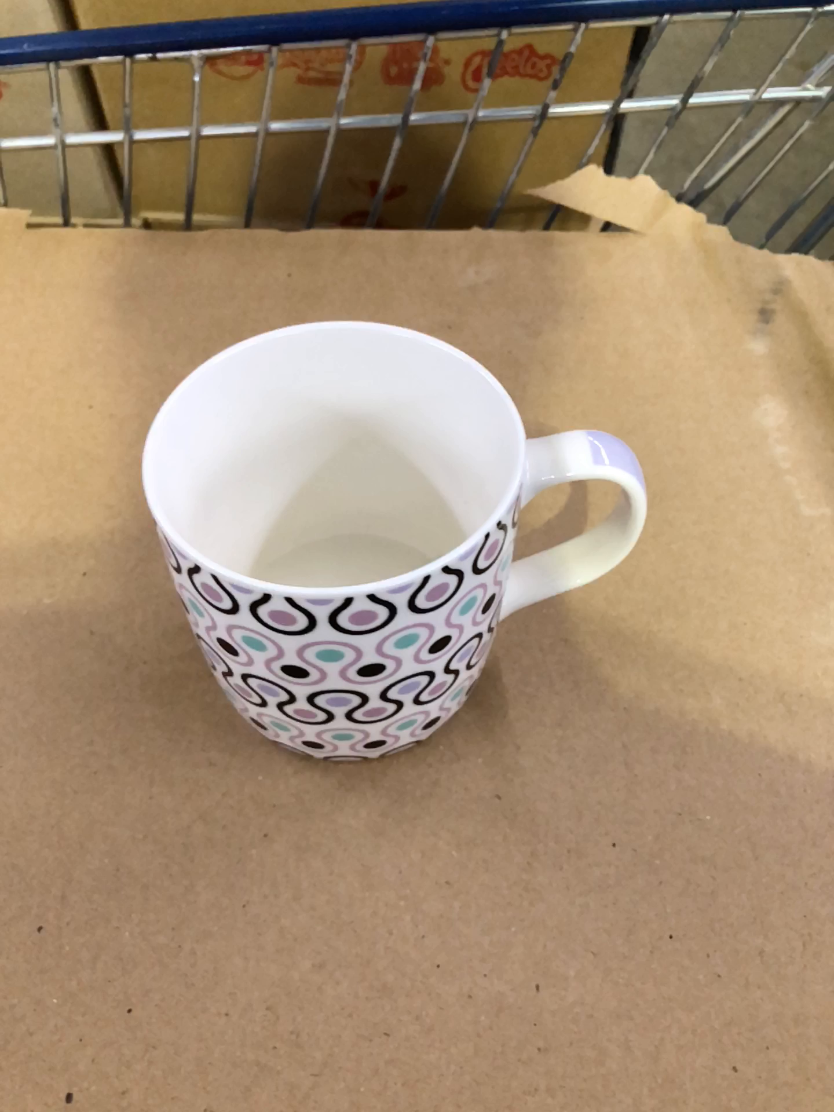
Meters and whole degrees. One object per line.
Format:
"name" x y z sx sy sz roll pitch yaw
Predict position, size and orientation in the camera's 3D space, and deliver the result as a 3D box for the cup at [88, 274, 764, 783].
"cup" -0.002 -0.007 0.254 0.140 0.090 0.090 -5 52 -5
